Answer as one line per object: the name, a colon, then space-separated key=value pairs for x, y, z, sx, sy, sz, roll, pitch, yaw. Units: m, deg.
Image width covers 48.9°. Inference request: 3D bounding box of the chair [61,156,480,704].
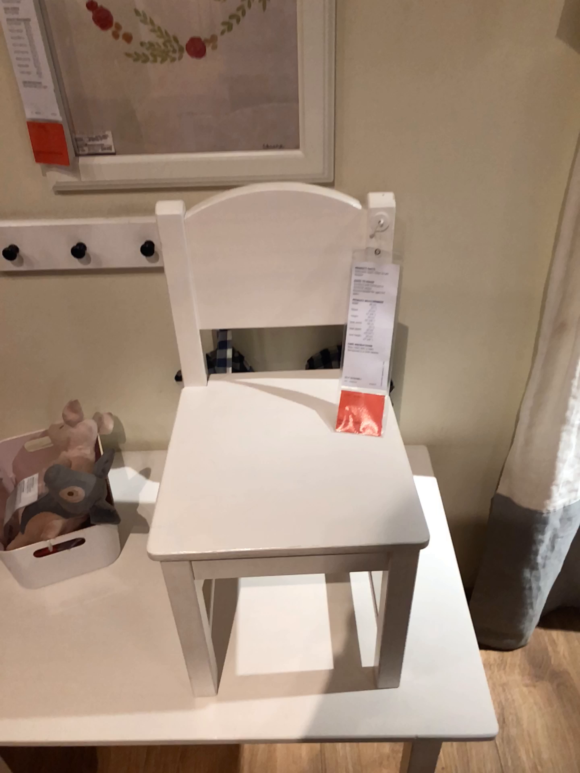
chair: x=-0.010 y=0.069 z=0.753 sx=0.300 sy=0.556 sz=0.322 roll=-3 pitch=37 yaw=0
